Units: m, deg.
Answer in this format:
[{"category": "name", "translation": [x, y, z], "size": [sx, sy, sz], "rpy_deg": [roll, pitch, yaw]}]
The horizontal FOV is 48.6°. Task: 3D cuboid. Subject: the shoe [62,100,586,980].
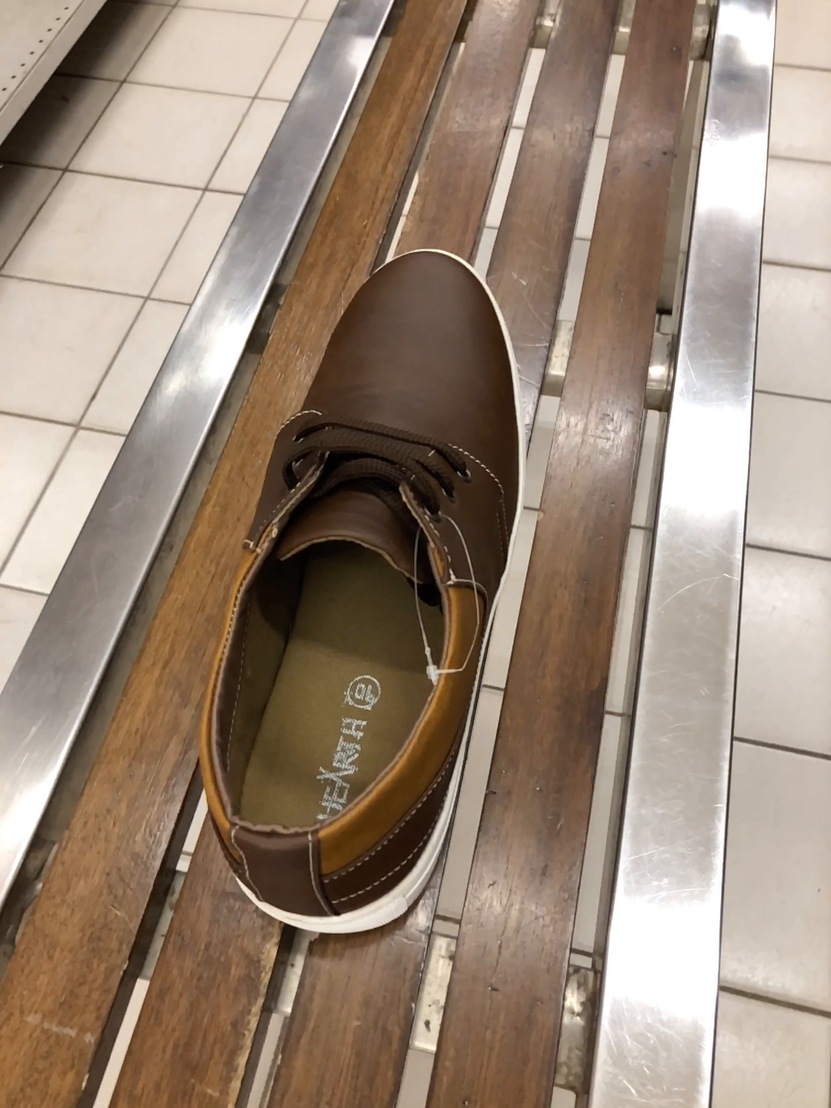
[{"category": "shoe", "translation": [-0.007, -0.022, 0.351], "size": [0.109, 0.114, 0.312], "rpy_deg": [7, 60, 7]}]
